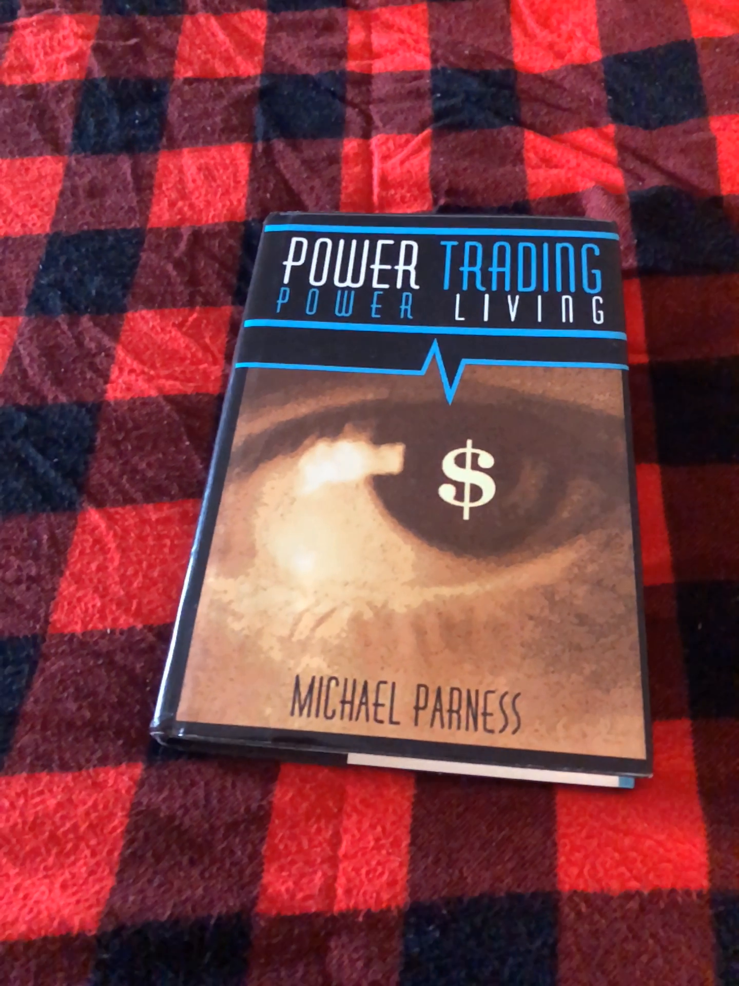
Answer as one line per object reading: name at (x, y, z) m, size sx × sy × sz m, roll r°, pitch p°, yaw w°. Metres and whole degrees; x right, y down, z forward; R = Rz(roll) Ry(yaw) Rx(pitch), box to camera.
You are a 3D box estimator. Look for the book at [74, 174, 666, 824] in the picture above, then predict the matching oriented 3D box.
book at (0.010, -0.015, 0.305) m, size 0.170 × 0.040 × 0.241 m, roll 4°, pitch 63°, yaw 5°
